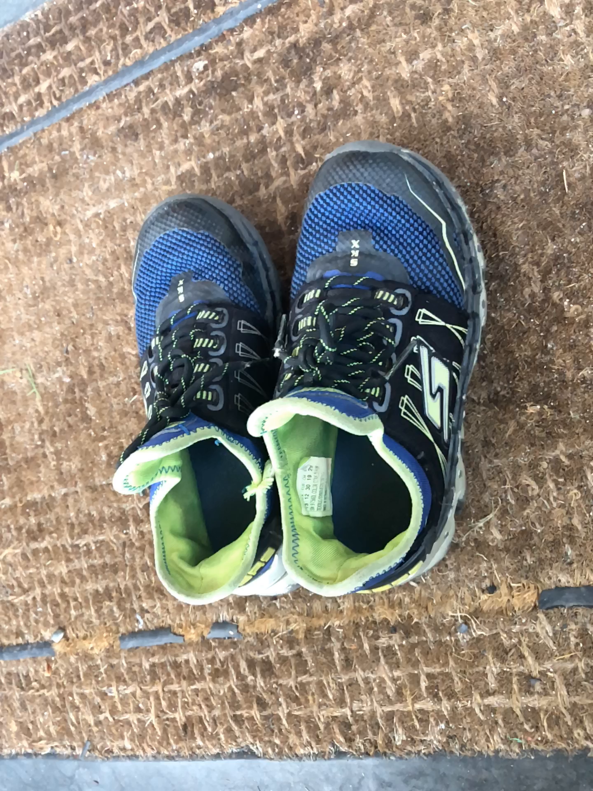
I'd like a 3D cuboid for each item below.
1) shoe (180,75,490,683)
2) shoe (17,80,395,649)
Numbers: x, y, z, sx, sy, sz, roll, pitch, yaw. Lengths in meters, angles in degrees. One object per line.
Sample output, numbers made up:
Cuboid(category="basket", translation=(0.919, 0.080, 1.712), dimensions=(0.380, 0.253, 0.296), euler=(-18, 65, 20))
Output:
Cuboid(category="shoe", translation=(0.021, -0.007, 0.280), dimensions=(0.090, 0.100, 0.200), euler=(4, 93, 26))
Cuboid(category="shoe", translation=(-0.042, -0.012, 0.330), dimensions=(0.090, 0.100, 0.230), euler=(-20, 83, 25))
